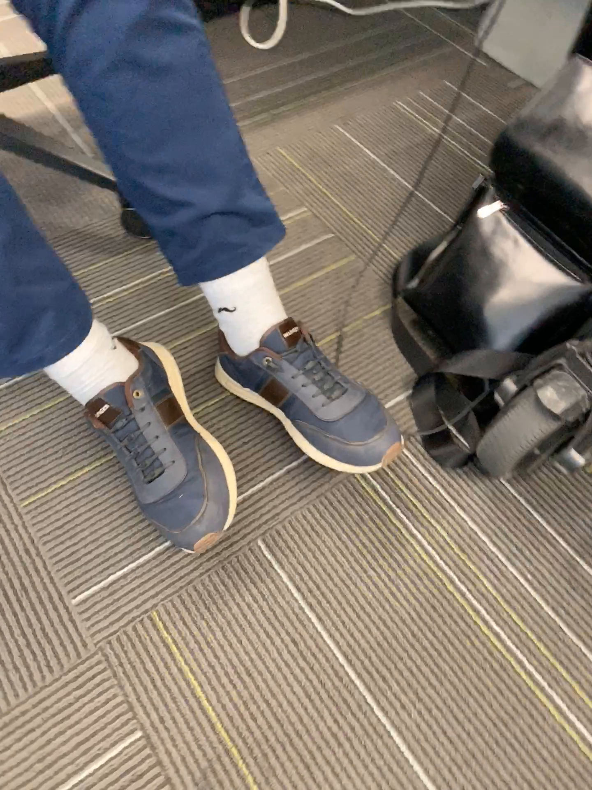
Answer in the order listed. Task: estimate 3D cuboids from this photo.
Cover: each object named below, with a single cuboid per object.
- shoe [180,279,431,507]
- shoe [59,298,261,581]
[{"bbox_3d":[0.004,-0.017,0.743,0.120,0.100,0.301,-37,52,-24],"label":"shoe"},{"bbox_3d":[-0.173,0.038,0.721,0.120,0.100,0.321,-38,49,6],"label":"shoe"}]
